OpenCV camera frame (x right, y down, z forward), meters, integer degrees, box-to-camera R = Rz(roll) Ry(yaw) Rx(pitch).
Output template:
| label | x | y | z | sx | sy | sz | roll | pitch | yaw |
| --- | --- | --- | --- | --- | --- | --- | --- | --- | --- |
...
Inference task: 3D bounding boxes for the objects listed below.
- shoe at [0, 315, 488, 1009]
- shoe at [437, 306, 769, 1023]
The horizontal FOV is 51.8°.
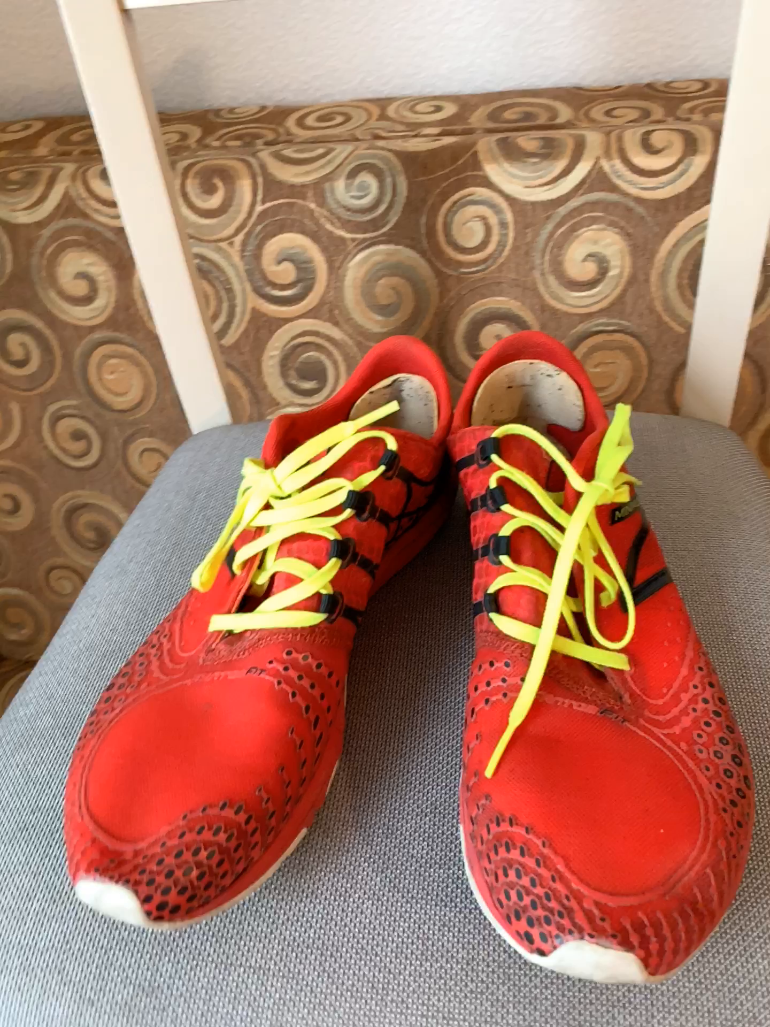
| label | x | y | z | sx | sy | sz | roll | pitch | yaw |
| --- | --- | --- | --- | --- | --- | --- | --- | --- | --- |
| shoe | -0.049 | 0.036 | 0.335 | 0.110 | 0.090 | 0.261 | 13 | 52 | 19 |
| shoe | 0.081 | 0.037 | 0.310 | 0.110 | 0.090 | 0.261 | -3 | 48 | 6 |
